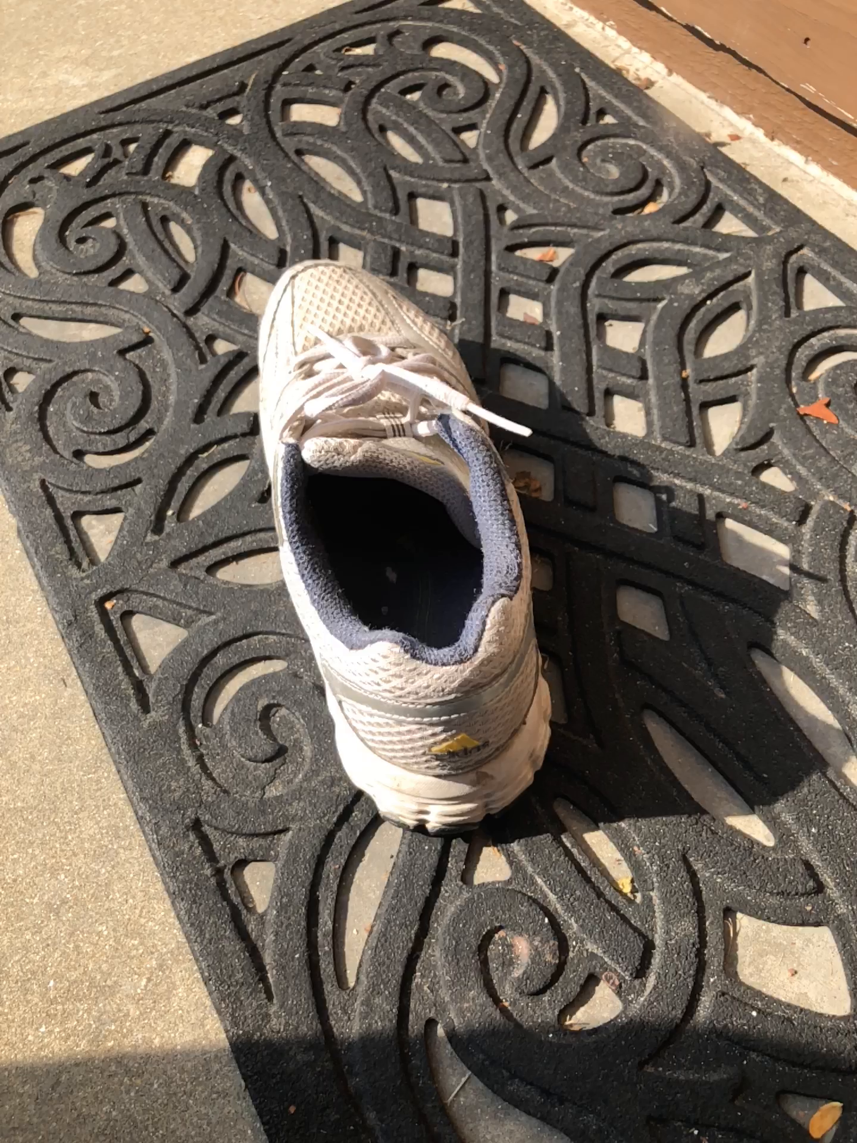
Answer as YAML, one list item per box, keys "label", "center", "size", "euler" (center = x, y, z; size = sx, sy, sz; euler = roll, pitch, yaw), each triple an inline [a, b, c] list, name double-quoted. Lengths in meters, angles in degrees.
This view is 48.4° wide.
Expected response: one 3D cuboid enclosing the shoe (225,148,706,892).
- label: "shoe"
  center: [0.002, -0.029, 0.389]
  size: [0.110, 0.130, 0.260]
  euler: [-13, 57, -3]
